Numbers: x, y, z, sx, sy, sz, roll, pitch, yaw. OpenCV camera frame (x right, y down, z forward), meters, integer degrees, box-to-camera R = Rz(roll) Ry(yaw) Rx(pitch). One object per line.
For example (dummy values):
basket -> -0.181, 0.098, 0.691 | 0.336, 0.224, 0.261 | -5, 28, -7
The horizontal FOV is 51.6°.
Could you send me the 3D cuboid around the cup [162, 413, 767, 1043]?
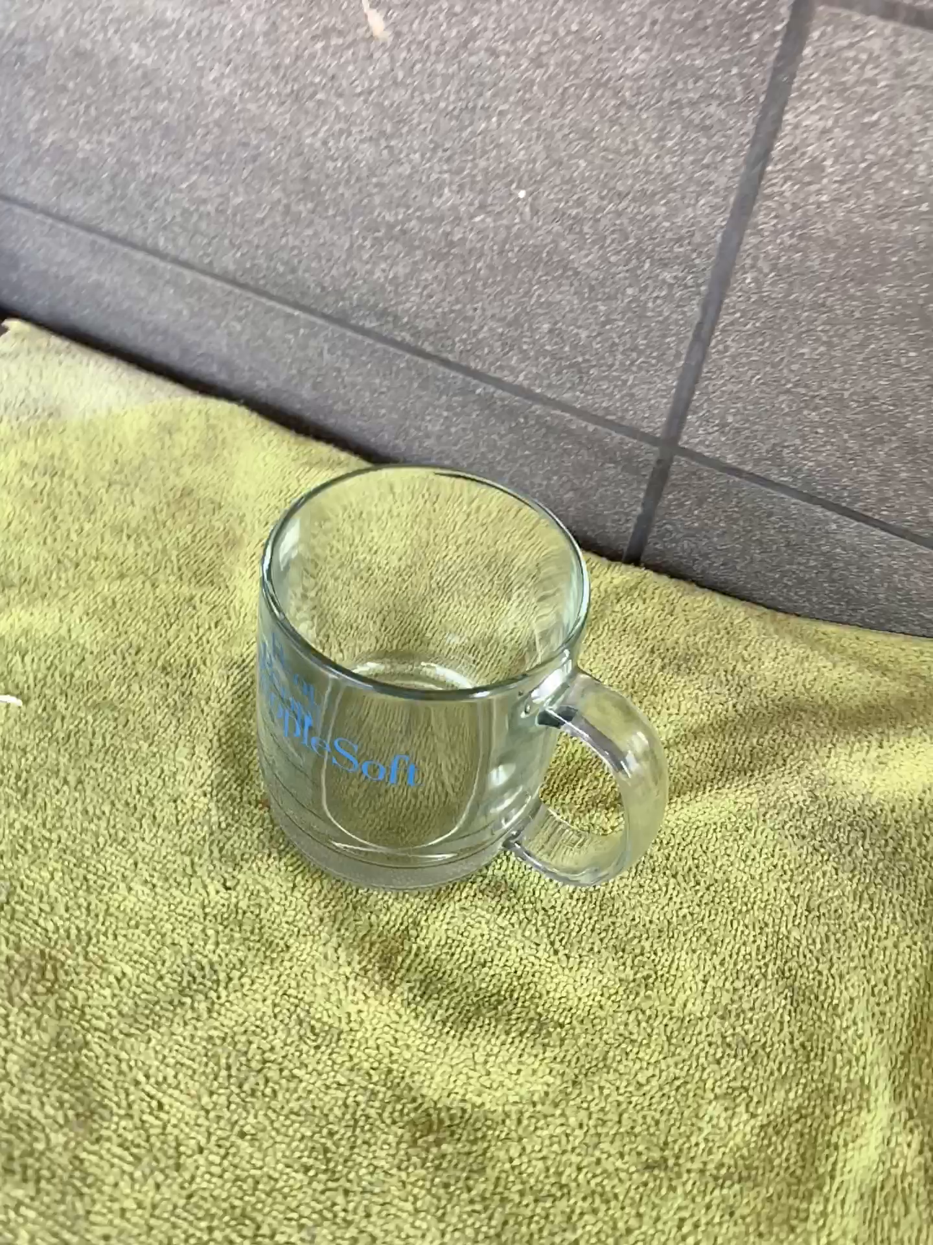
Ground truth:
cup -> -0.005, 0.025, 0.264 | 0.120, 0.100, 0.080 | 30, 49, 20
